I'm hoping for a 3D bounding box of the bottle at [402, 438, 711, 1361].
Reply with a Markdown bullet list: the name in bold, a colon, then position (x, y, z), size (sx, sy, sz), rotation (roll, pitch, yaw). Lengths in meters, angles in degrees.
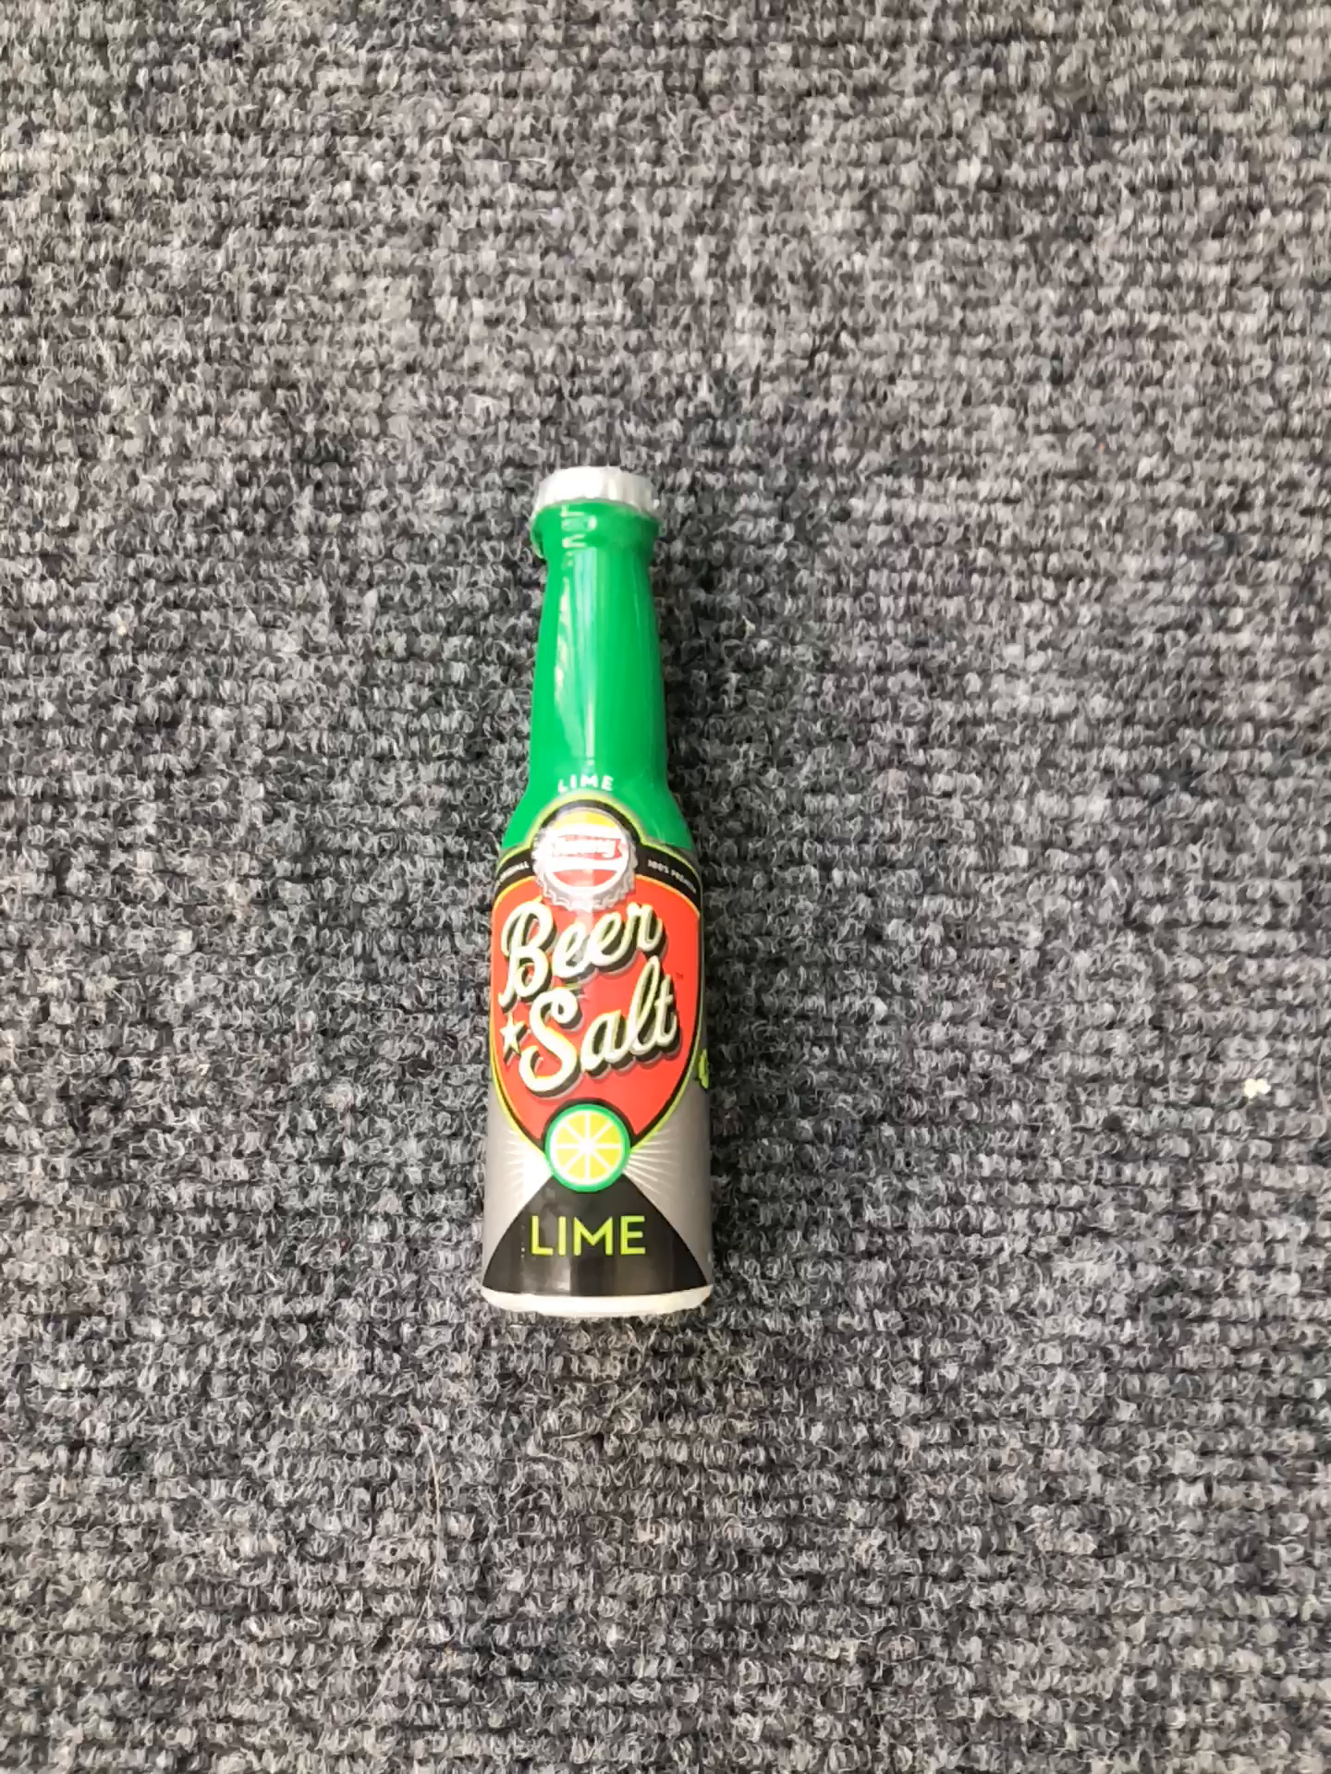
- **bottle**: position (-0.012, 0.001, 0.179), size (0.033, 0.030, 0.101), rotation (-1, 84, 0)
